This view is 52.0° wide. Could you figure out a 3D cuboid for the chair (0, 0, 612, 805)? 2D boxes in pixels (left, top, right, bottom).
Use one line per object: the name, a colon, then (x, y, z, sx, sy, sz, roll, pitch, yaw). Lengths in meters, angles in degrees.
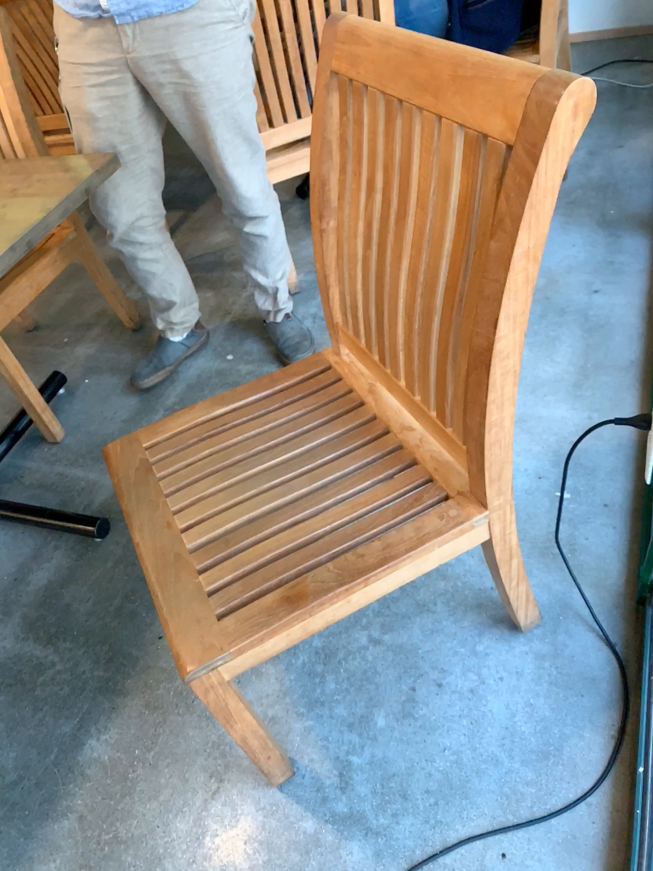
chair: (-0.048, -0.011, 1.000, 0.610, 0.915, 0.533, -26, 44, -9)
